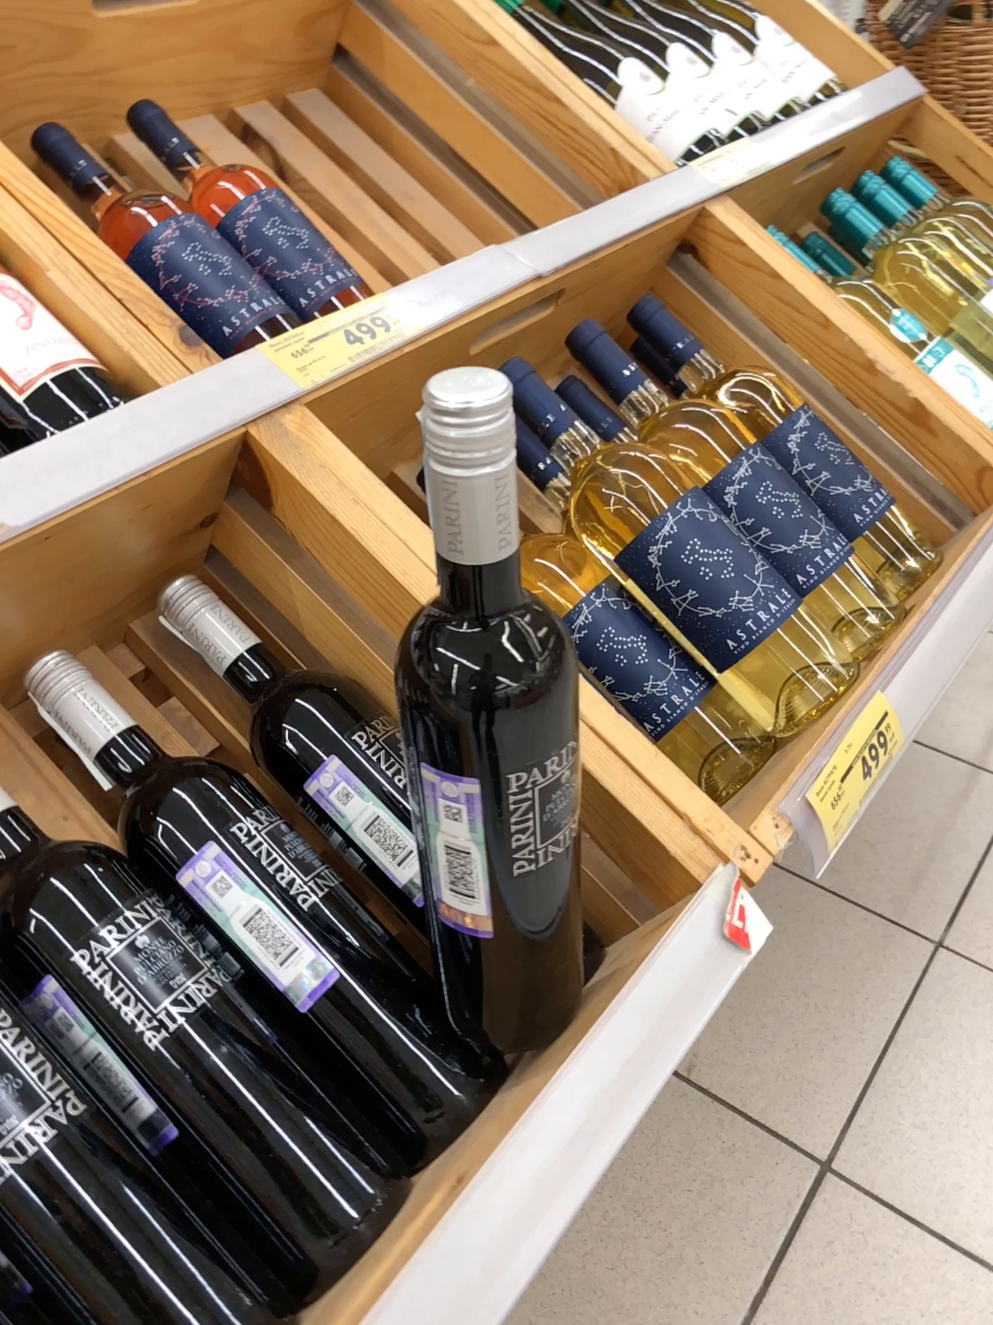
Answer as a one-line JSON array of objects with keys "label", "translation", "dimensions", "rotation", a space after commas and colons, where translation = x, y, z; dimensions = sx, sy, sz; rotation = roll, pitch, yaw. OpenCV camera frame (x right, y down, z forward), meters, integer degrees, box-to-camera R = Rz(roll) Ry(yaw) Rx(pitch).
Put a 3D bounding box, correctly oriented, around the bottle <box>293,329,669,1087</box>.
[{"label": "bottle", "translation": [0.003, 0.028, 0.427], "dimensions": [0.090, 0.278, 0.080], "rotation": [-30, 42, -33]}]
